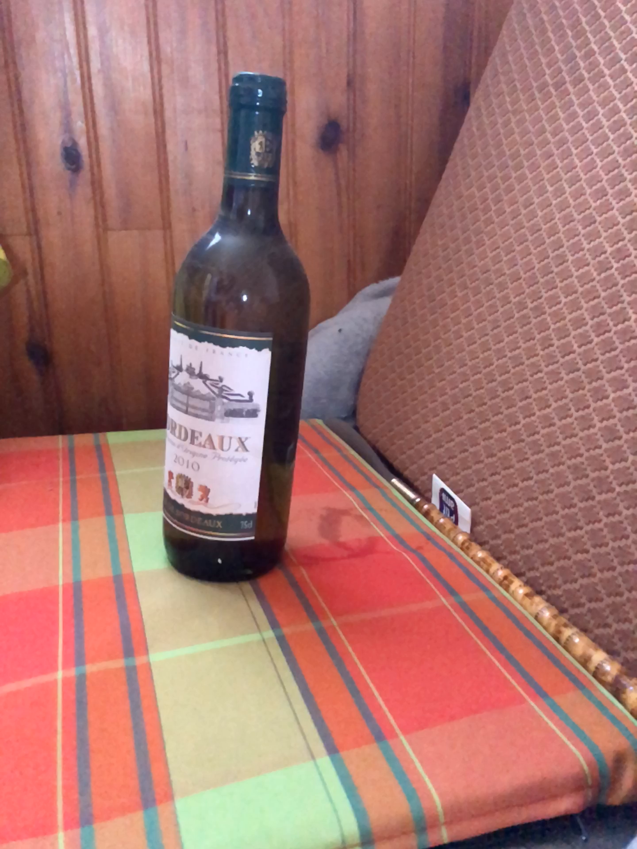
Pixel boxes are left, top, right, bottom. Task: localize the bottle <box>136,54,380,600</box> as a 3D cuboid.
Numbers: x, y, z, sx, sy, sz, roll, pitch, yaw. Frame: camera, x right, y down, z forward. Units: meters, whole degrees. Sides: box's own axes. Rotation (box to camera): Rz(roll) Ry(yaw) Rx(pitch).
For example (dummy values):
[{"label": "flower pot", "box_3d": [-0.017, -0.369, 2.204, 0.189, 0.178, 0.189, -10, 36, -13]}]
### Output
[{"label": "bottle", "box_3d": [-0.041, -0.049, 0.396, 0.080, 0.269, 0.080, 6, 17, -2]}]
